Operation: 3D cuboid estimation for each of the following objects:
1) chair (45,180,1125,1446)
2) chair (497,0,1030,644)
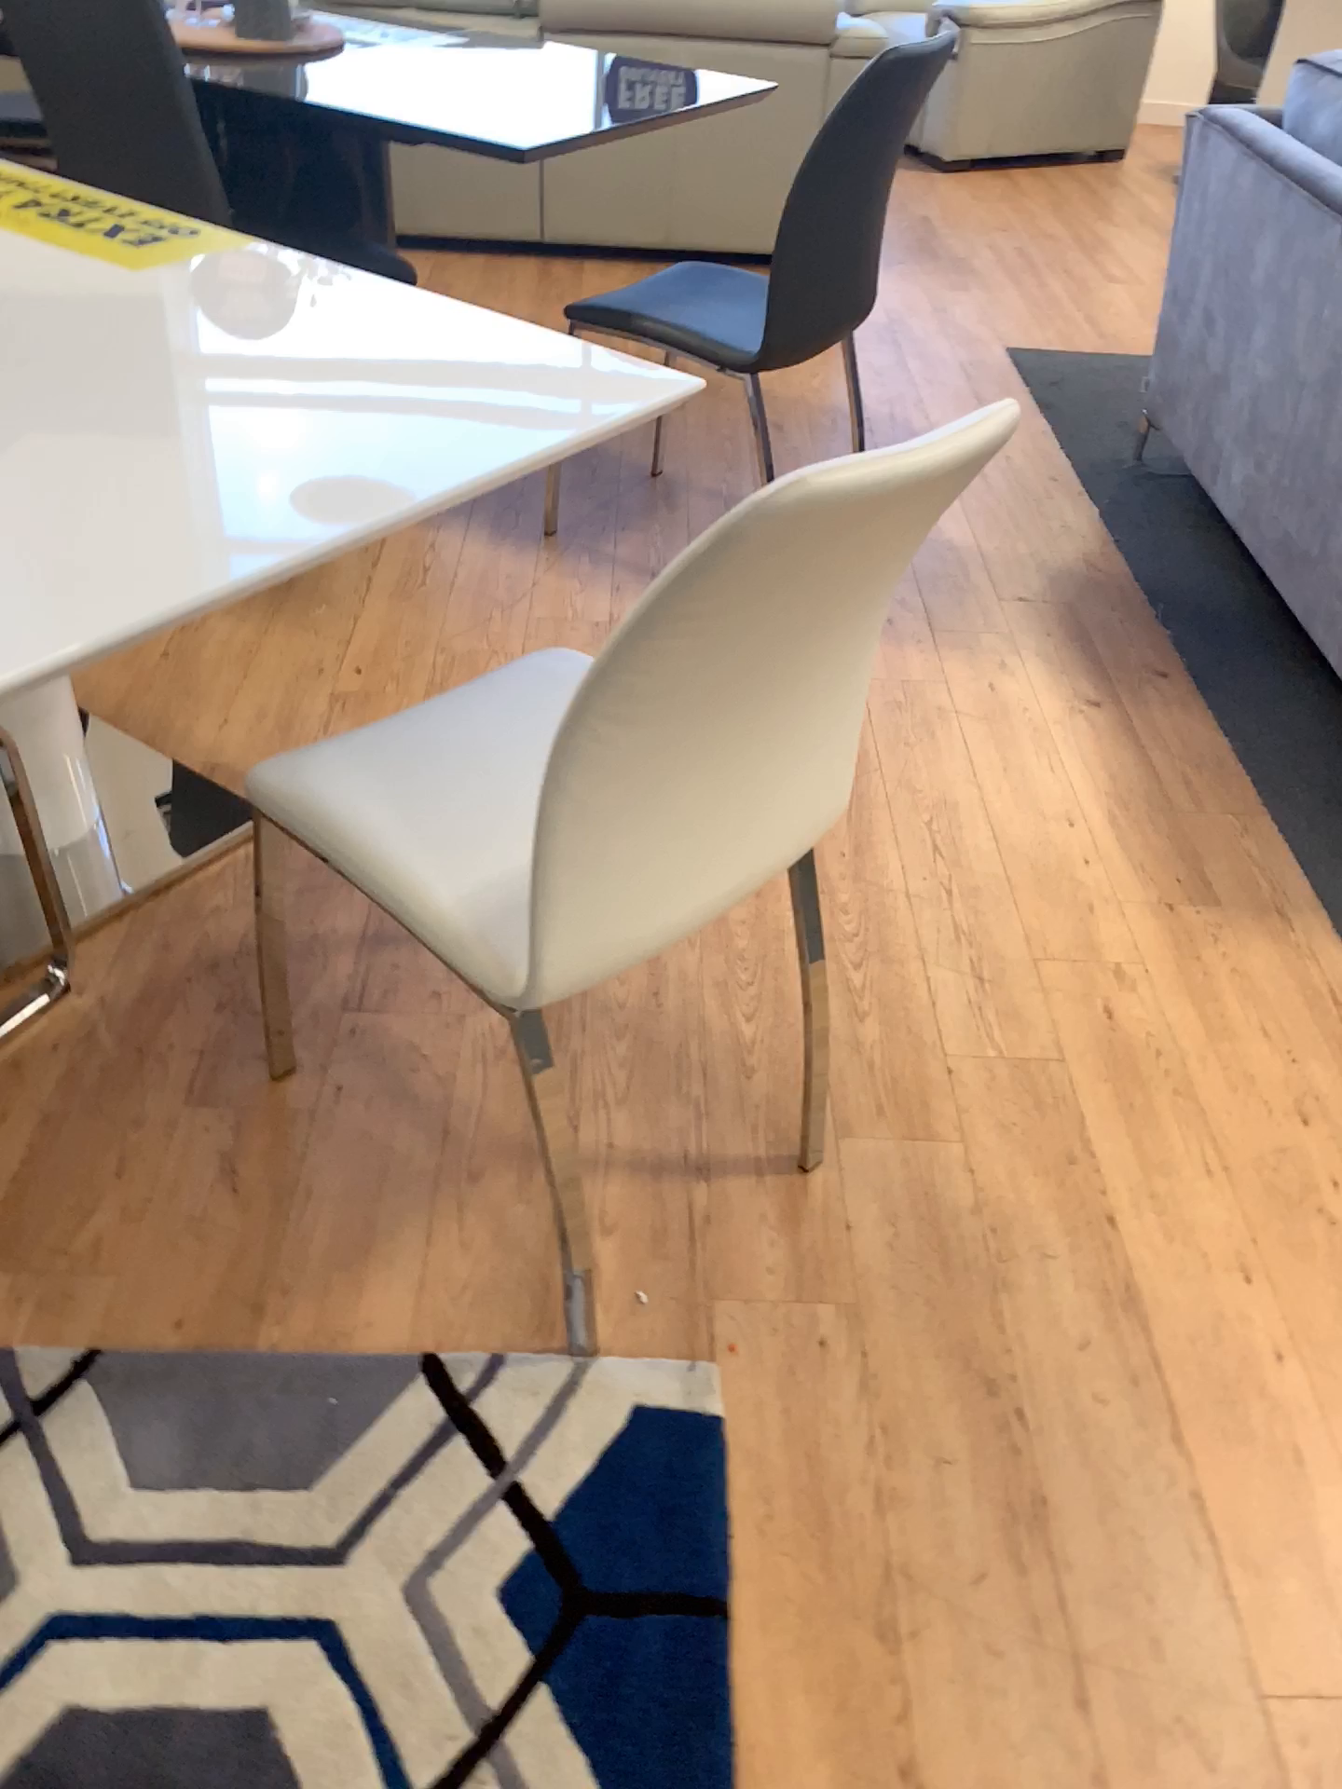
[{"bbox_3d":[-0.107,-0.097,1.294,0.492,0.881,0.673,-29,50,-34],"label":"chair"},{"bbox_3d":[0.130,-1.103,2.520,0.712,0.951,0.524,25,44,24],"label":"chair"}]
